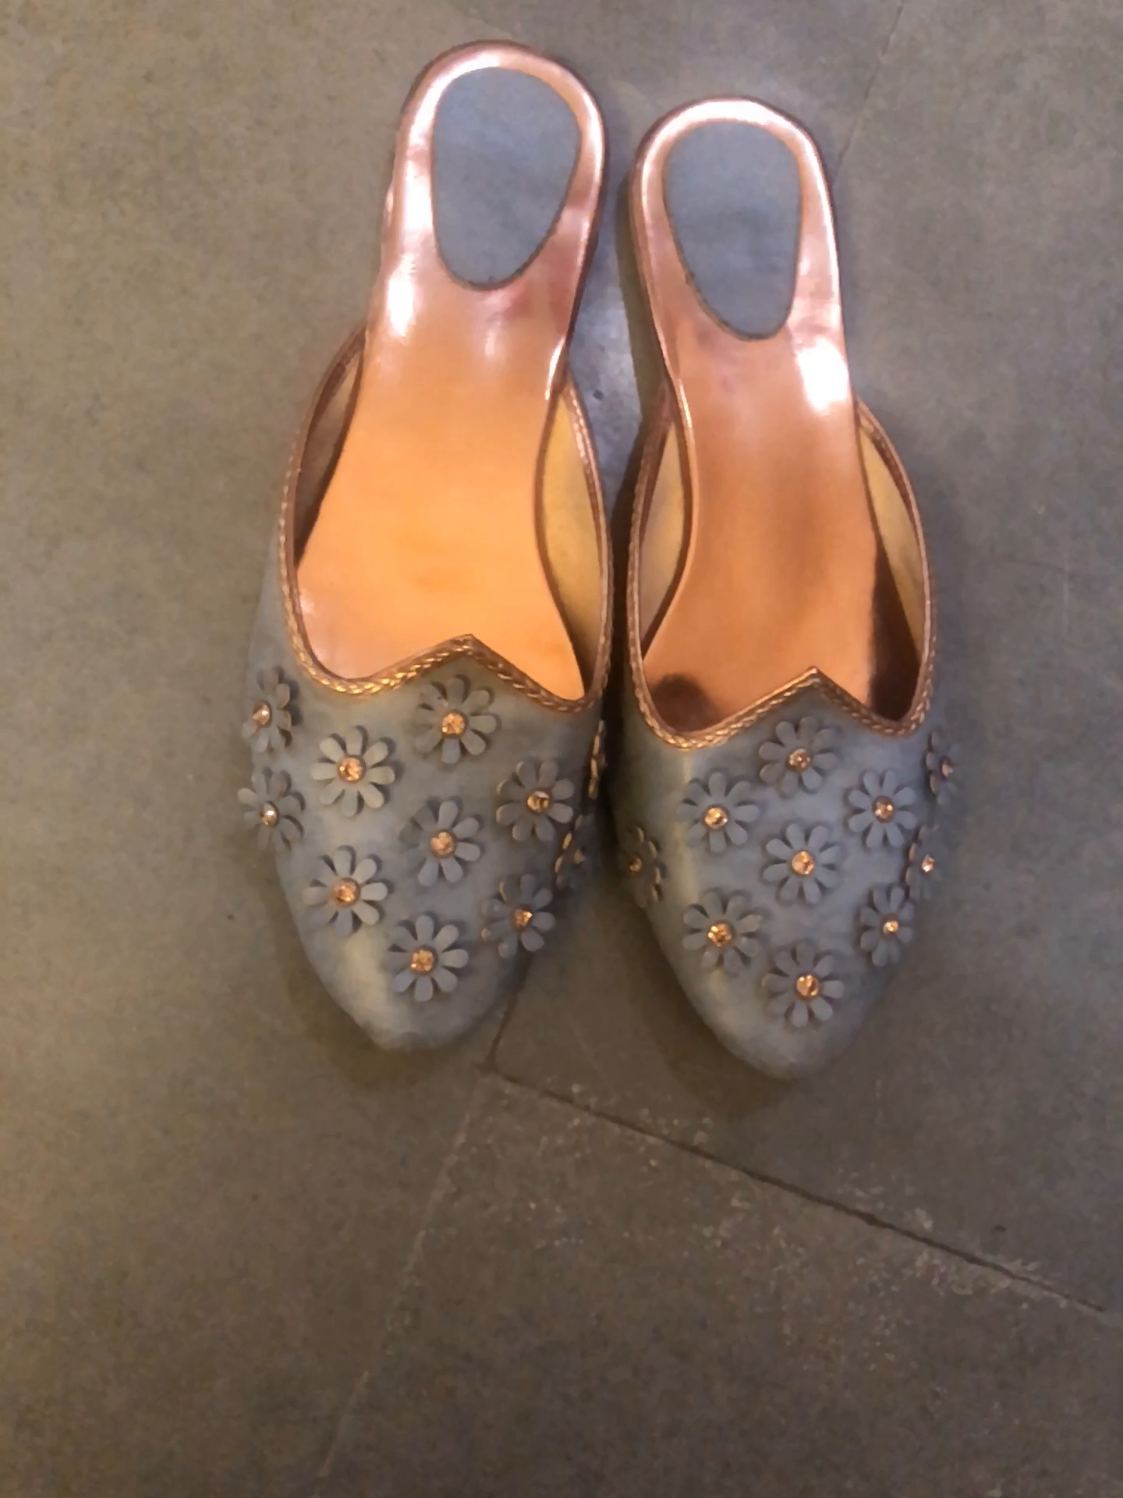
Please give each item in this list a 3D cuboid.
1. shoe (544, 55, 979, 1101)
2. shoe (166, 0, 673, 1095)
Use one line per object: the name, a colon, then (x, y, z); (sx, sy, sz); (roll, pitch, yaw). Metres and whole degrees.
shoe: (0.051, -0.046, 0.351); (0.100, 0.050, 0.270); (-1, 85, -9)
shoe: (-0.034, -0.053, 0.331); (0.100, 0.050, 0.270); (5, 84, -8)
